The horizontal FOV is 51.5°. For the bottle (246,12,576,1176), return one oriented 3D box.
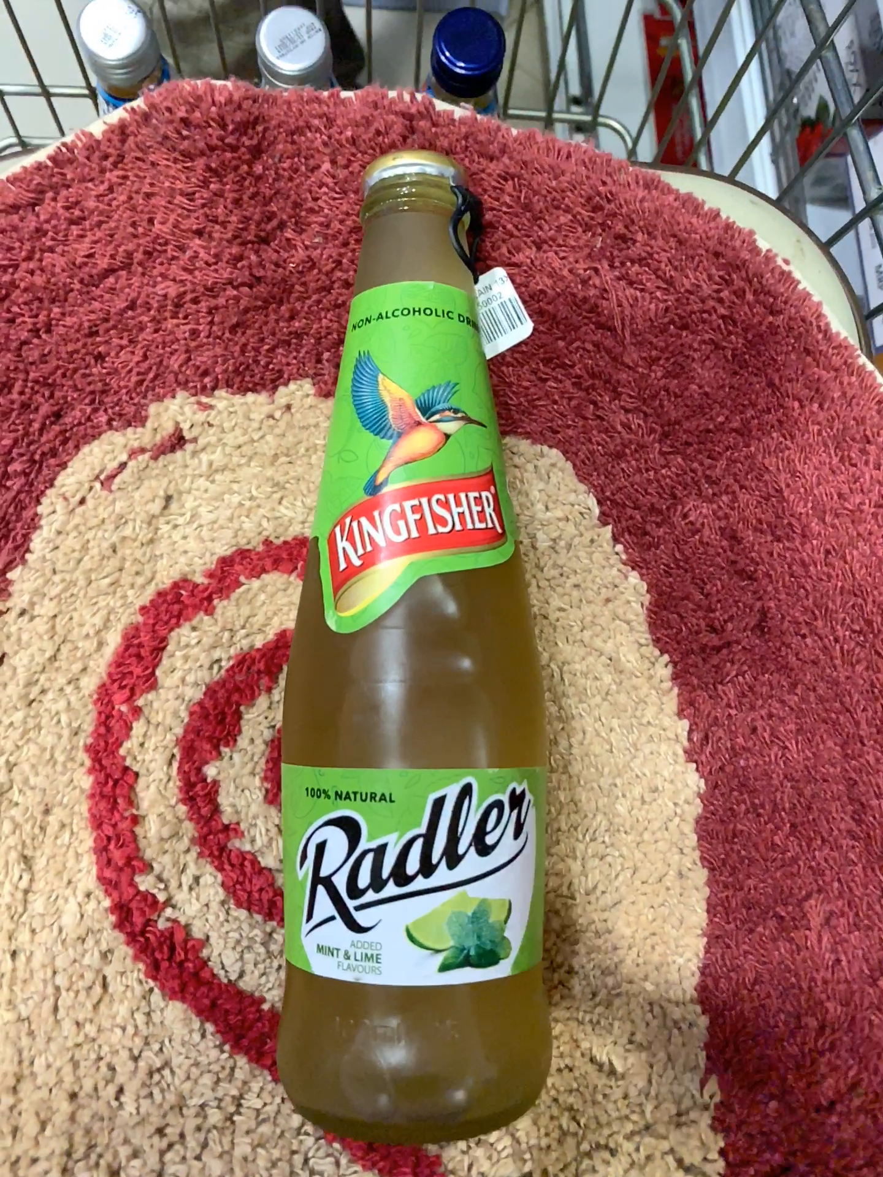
[{"bbox_3d":[-0.010,-0.005,0.215,0.060,0.060,0.240,-1,81,-3],"label":"bottle"}]
